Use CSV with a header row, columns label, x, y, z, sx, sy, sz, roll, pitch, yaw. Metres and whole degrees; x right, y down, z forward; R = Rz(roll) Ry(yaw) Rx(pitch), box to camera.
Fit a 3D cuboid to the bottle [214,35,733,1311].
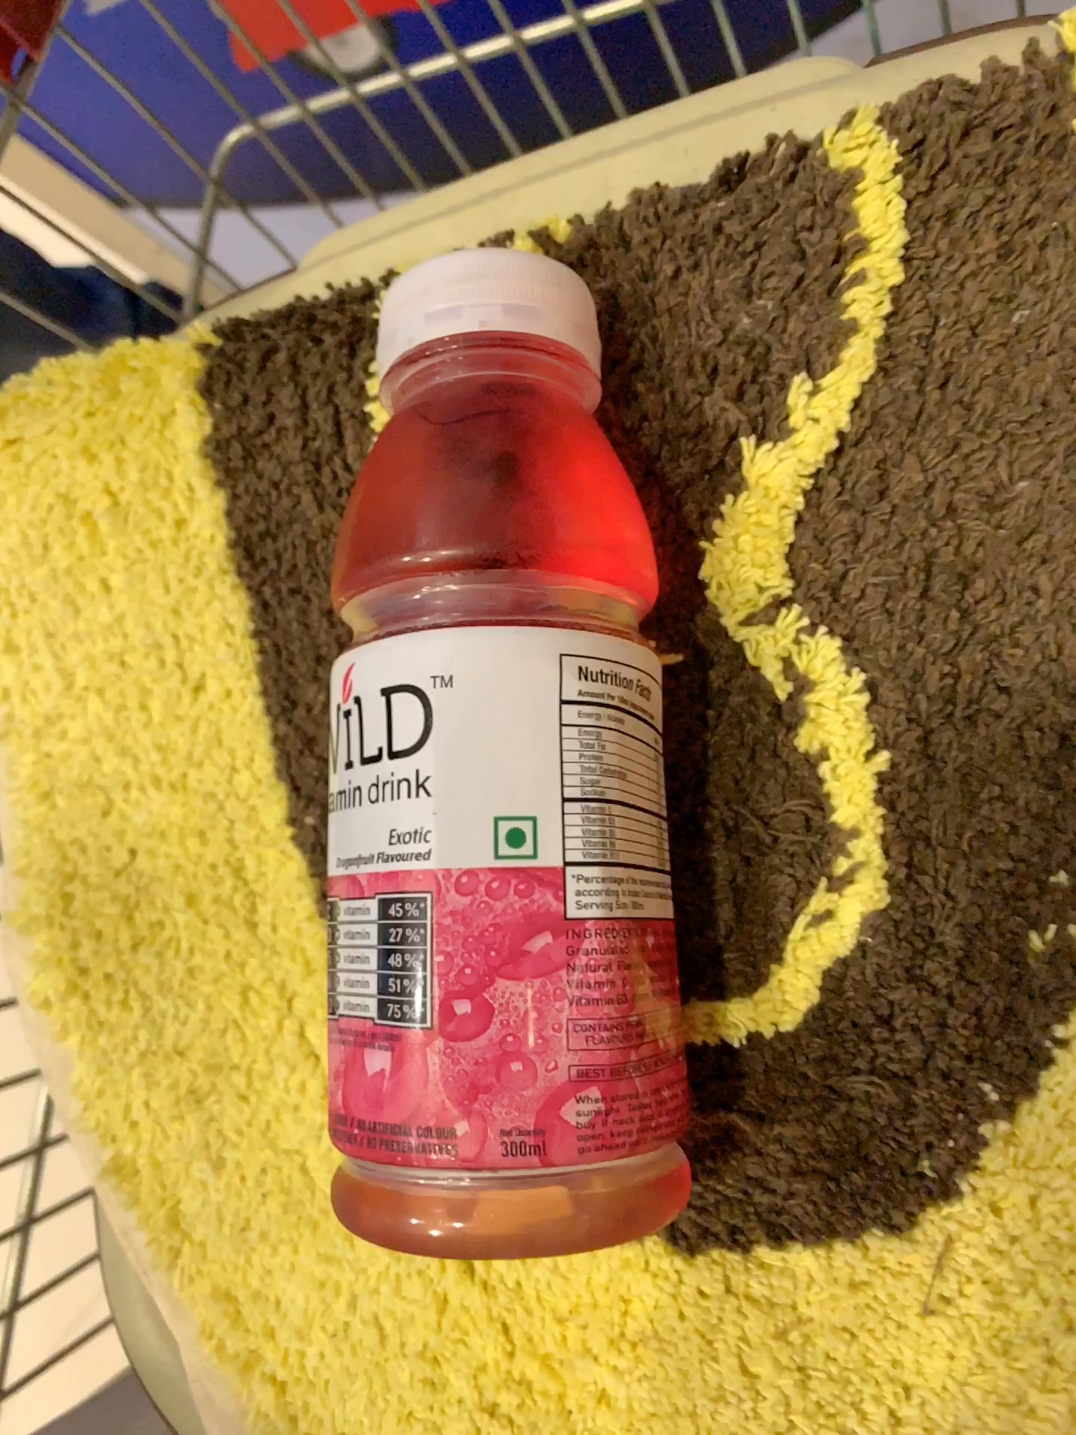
label,x,y,z,sx,sy,sz,roll,pitch,yaw
bottle,-0.011,-0.008,0.184,0.060,0.050,0.170,-13,72,47
